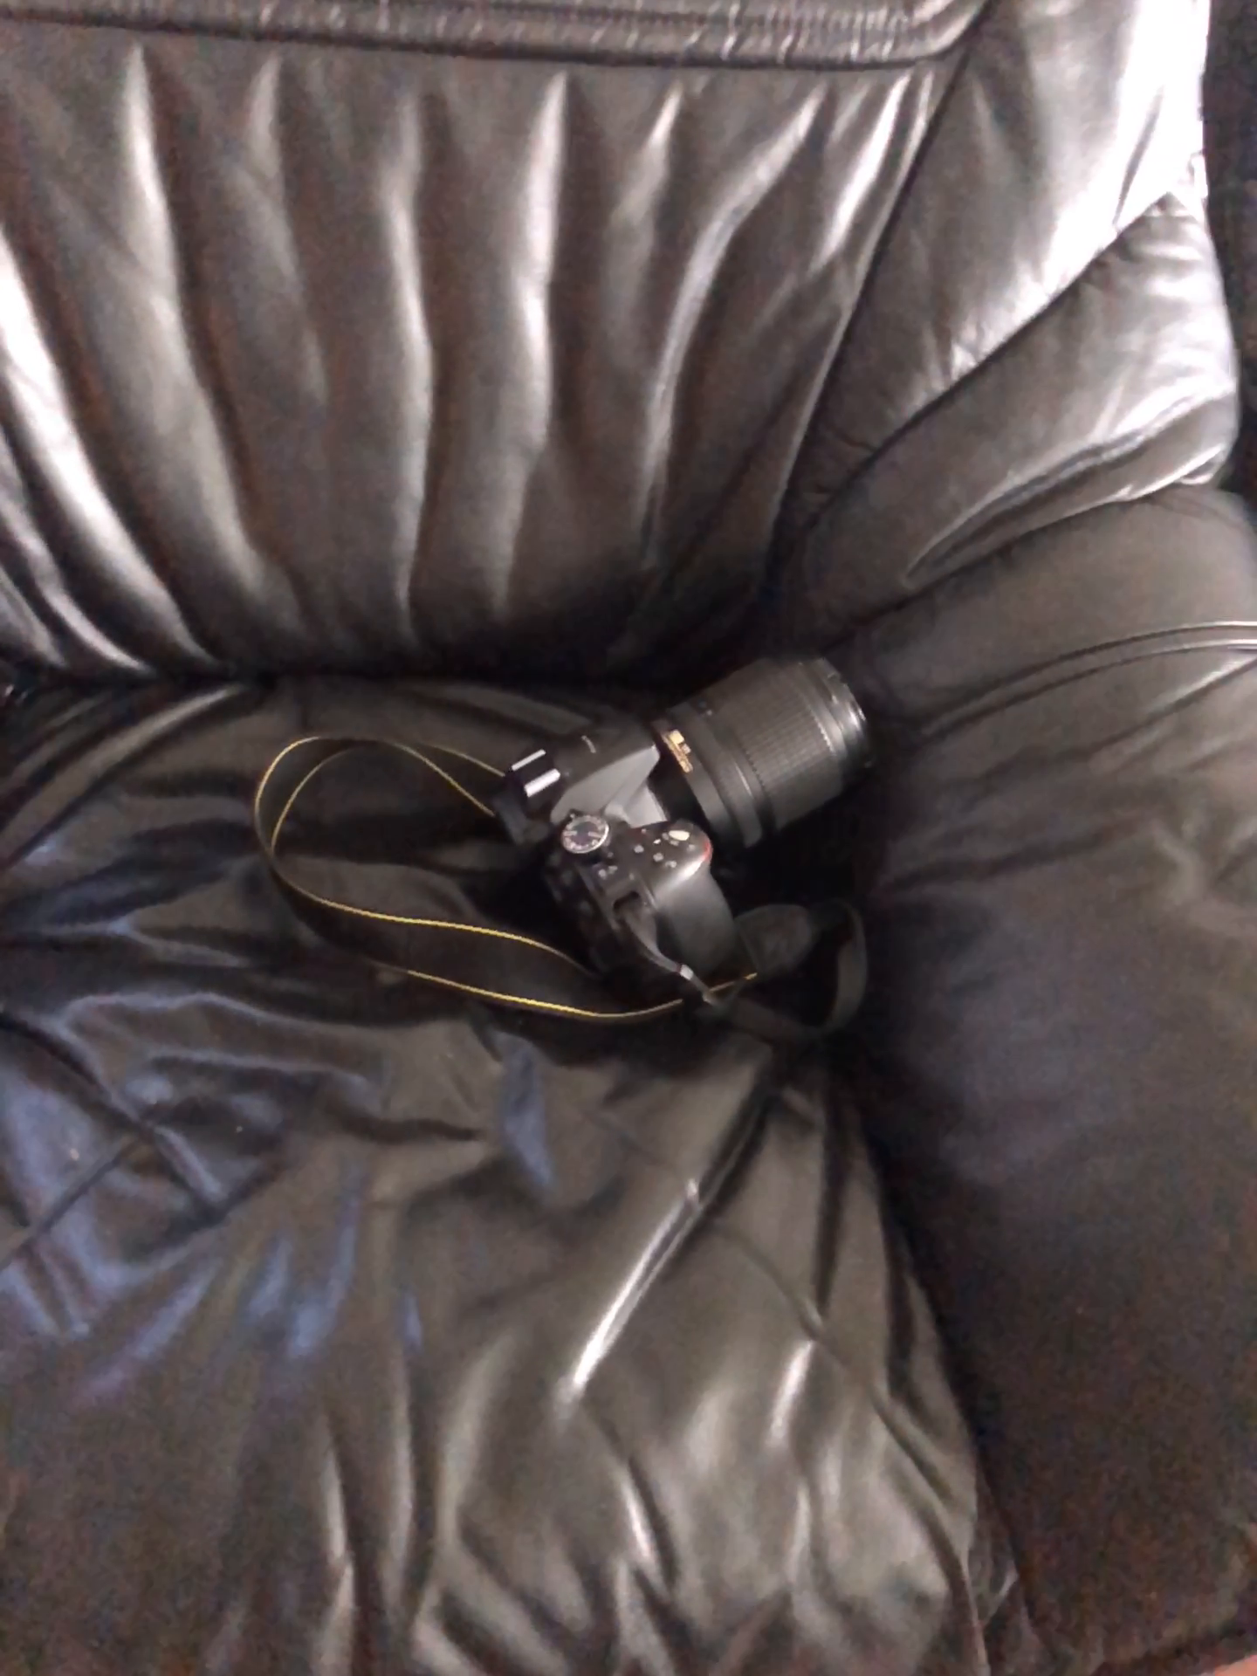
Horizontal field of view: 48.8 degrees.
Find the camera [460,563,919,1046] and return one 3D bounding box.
[{"bbox_3d":[0.034,-0.018,0.716,0.170,0.130,0.140,-30,52,-8],"label":"camera"}]
